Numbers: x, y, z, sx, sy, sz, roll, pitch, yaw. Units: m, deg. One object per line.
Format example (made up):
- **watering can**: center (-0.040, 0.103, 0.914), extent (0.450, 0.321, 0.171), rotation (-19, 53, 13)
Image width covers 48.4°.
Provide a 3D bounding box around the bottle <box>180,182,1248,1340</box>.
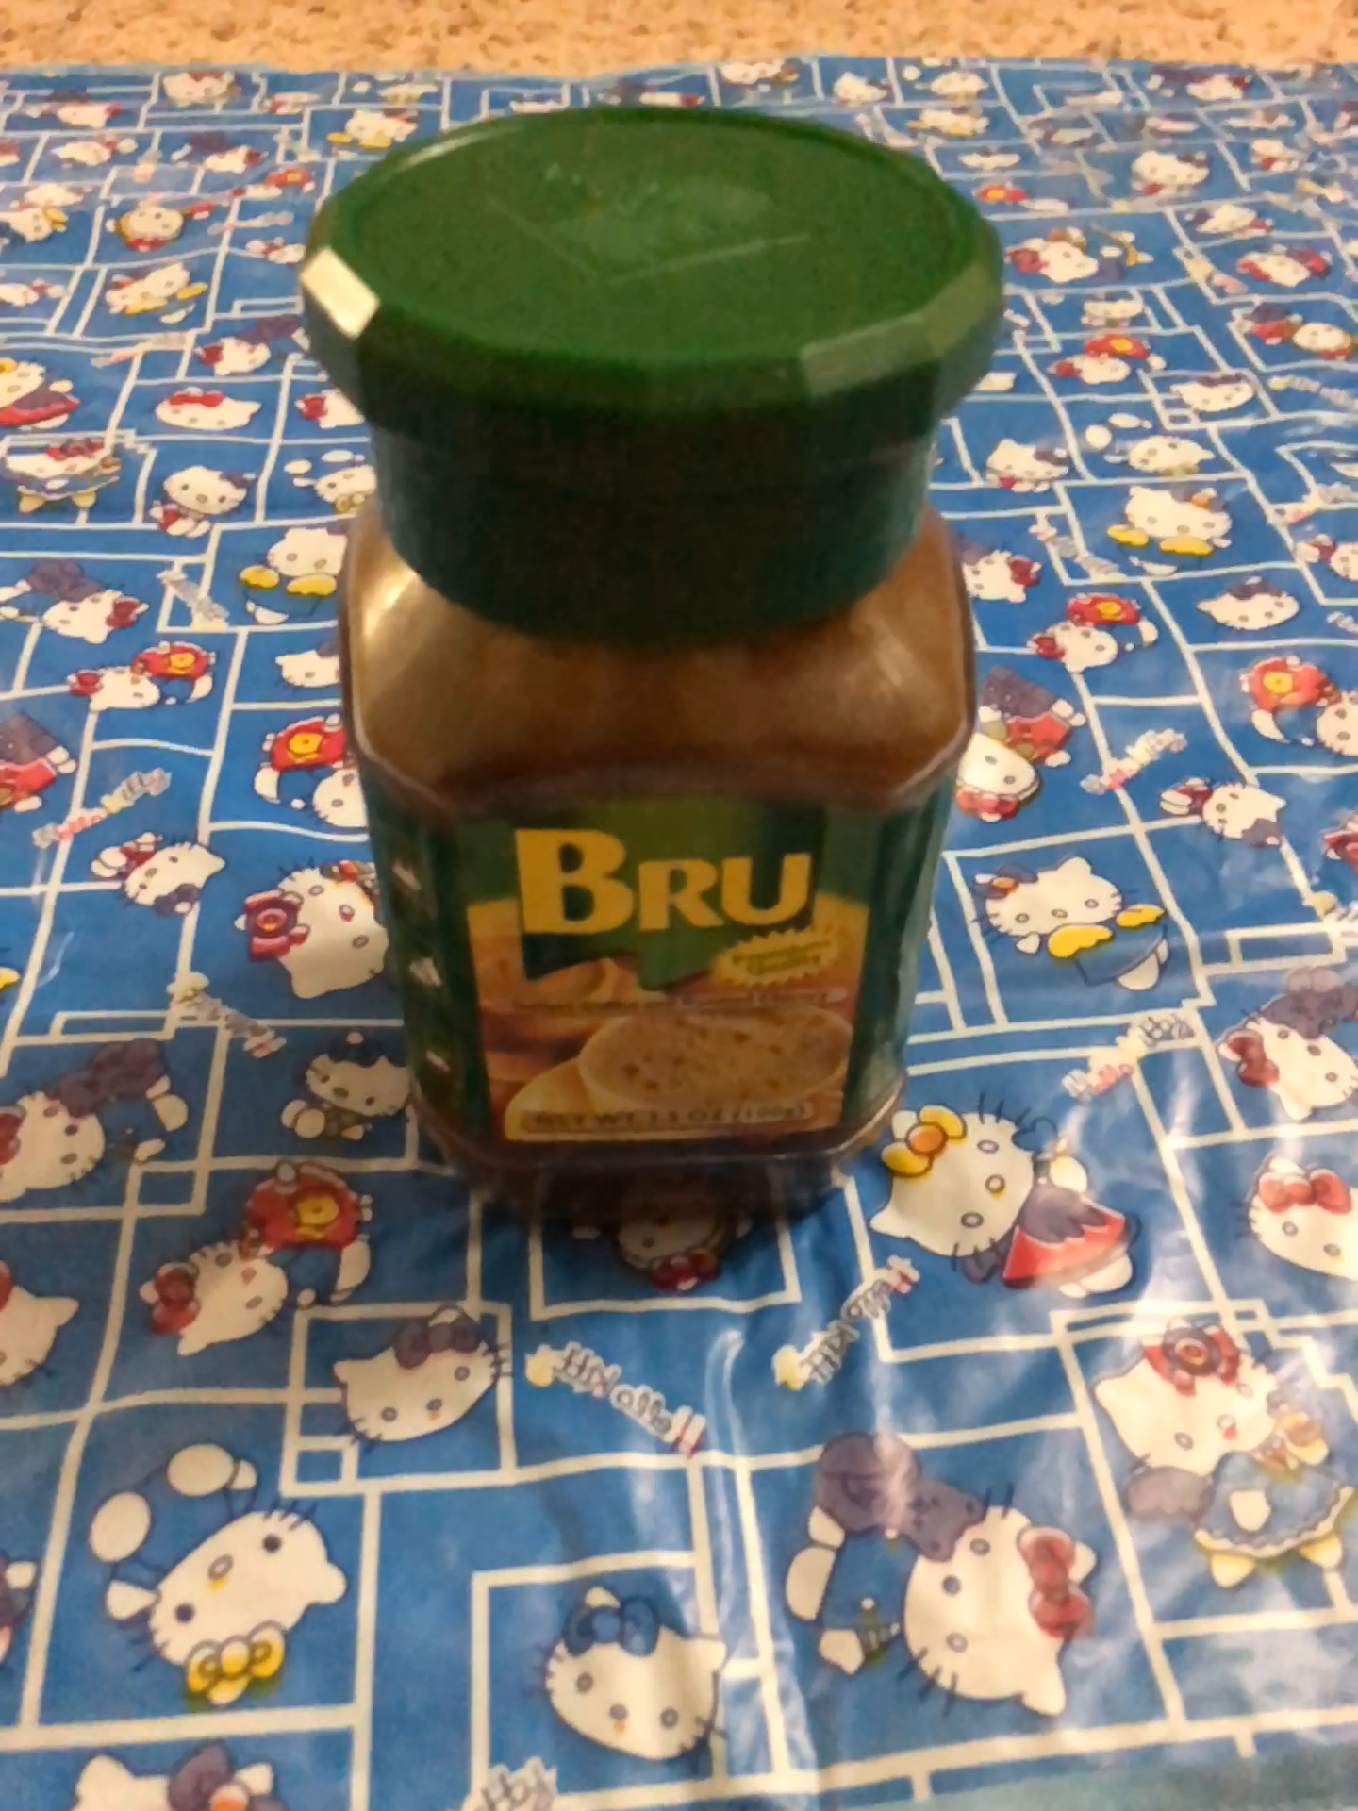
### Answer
- **bottle**: center (0.001, -0.010, 0.180), extent (0.080, 0.120, 0.070), rotation (-1, 46, -2)
